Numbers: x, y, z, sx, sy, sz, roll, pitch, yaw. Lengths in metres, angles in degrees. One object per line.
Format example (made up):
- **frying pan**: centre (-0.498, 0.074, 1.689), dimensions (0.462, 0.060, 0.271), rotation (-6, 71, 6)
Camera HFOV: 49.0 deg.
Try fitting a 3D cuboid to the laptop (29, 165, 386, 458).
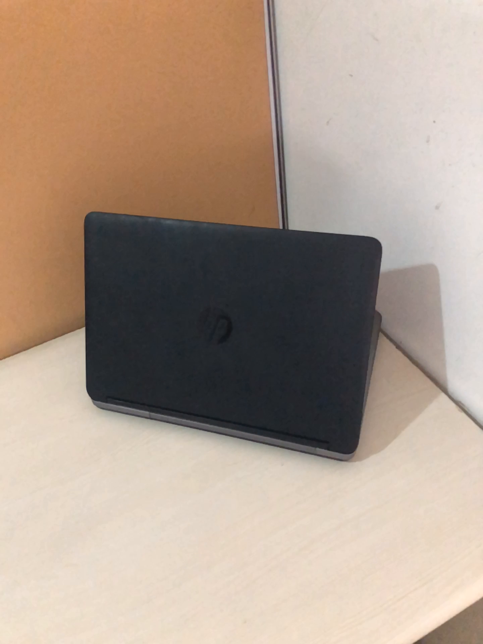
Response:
- **laptop**: centre (-0.014, -0.029, 0.614), dimensions (0.318, 0.192, 0.228), rotation (8, 45, 17)
